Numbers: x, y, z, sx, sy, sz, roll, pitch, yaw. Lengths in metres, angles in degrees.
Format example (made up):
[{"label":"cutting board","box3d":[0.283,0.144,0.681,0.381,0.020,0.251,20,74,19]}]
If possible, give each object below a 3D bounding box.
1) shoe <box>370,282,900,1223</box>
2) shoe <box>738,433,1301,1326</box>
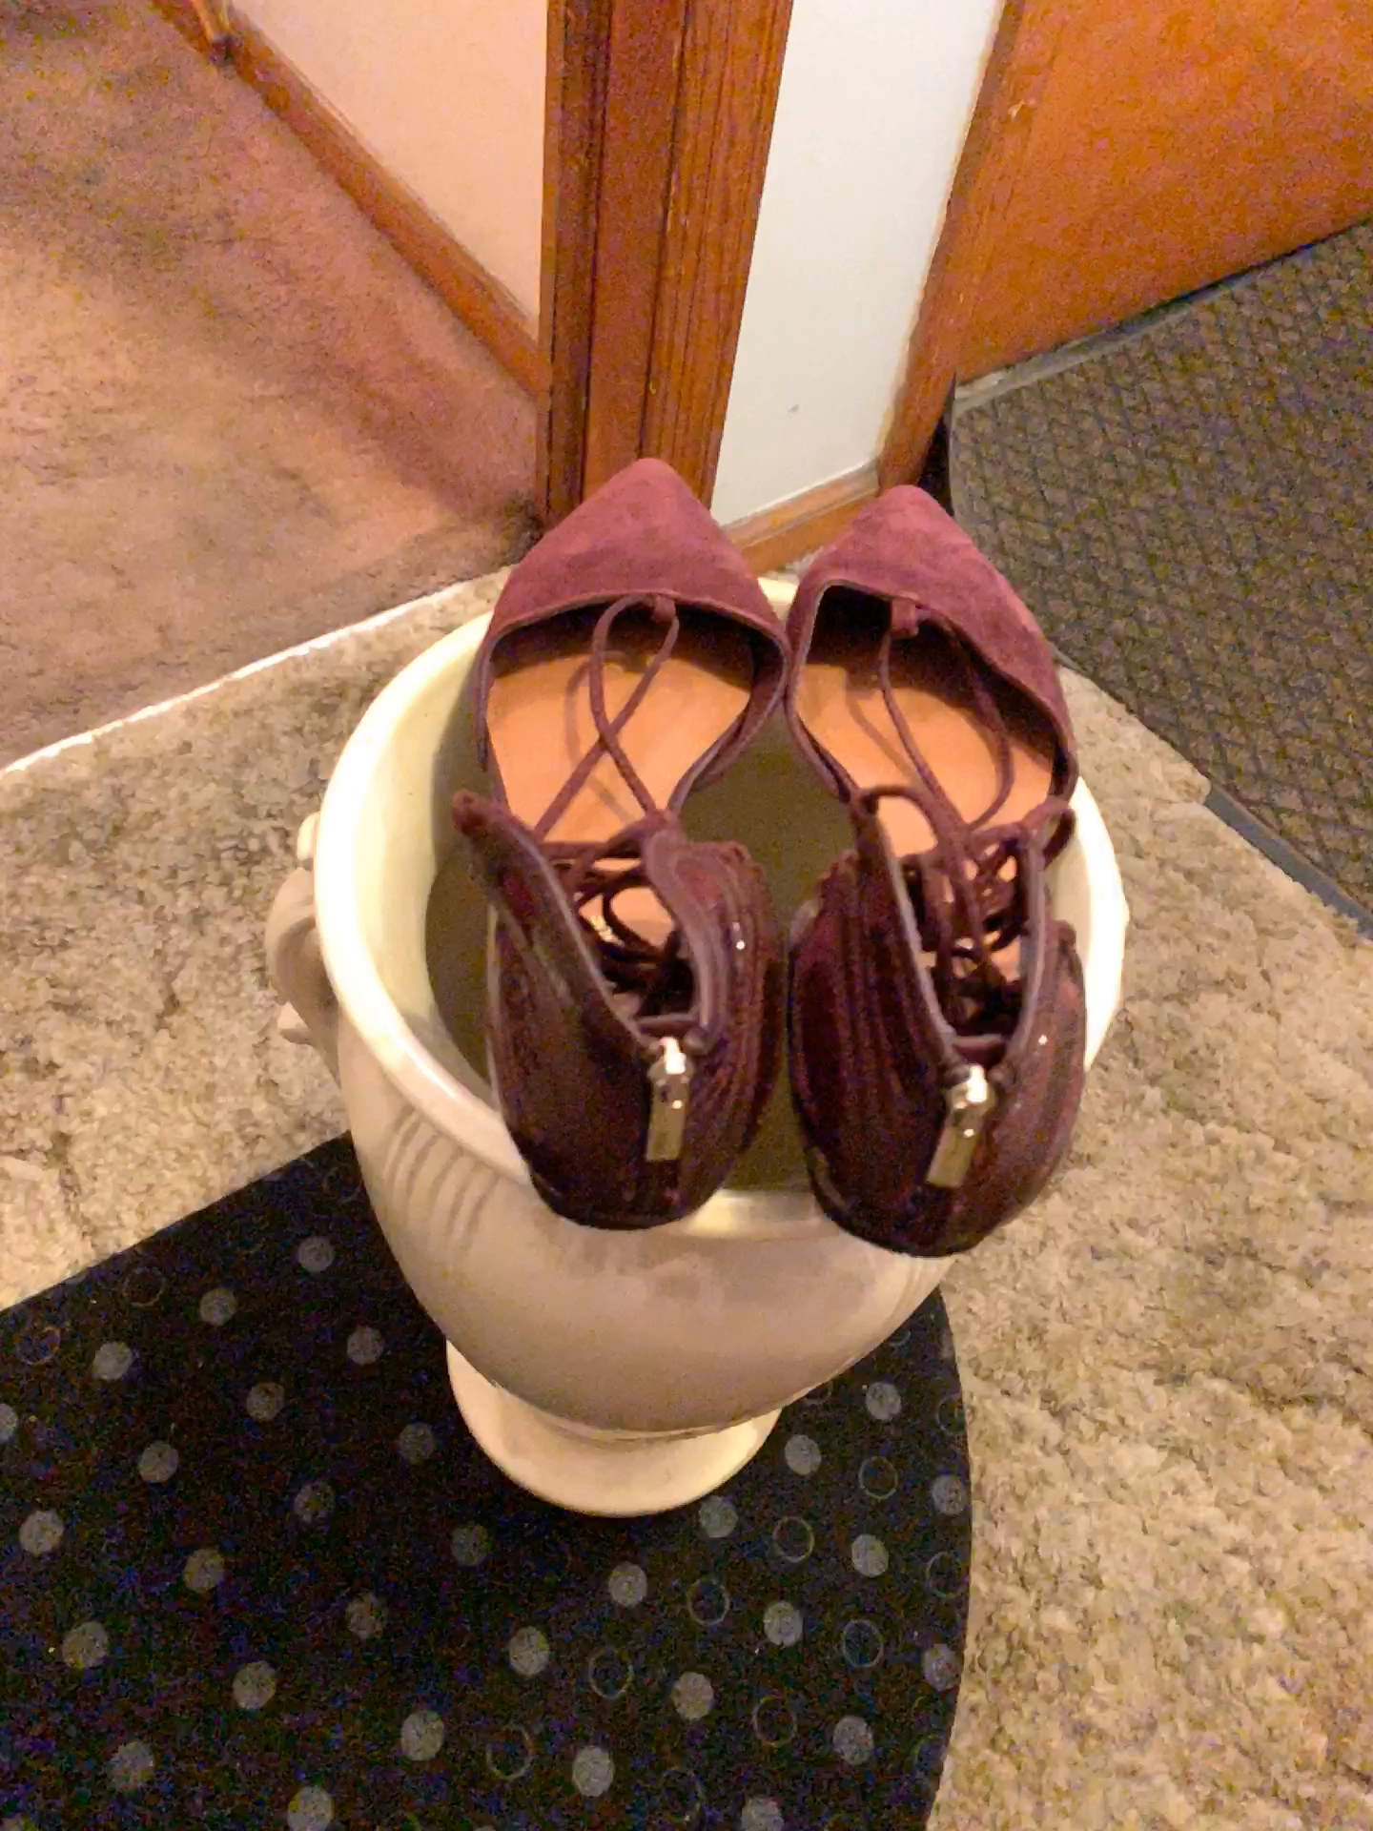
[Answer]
[{"label":"shoe","box3d":[-0.017,-0.064,0.360,0.090,0.069,0.282,3,46,-6]},{"label":"shoe","box3d":[0.068,-0.037,0.379,0.090,0.069,0.282,8,39,-3]}]
